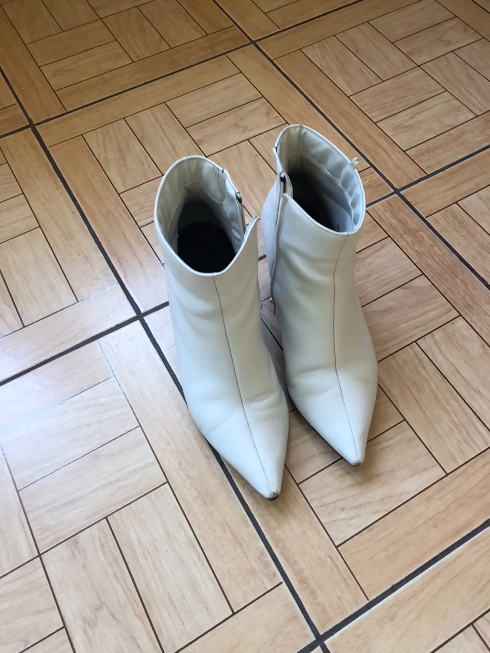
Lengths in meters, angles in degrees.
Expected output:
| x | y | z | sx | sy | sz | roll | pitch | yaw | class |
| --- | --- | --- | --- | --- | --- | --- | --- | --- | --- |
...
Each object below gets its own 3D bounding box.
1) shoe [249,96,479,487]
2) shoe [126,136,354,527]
| x | y | z | sx | sy | sz | roll | pitch | yaw | class |
| --- | --- | --- | --- | --- | --- | --- | --- | --- | --- |
| 0.071 | -0.030 | 0.447 | 0.100 | 0.155 | 0.274 | -7 | 61 | -3 | shoe |
| -0.014 | 0.005 | 0.430 | 0.100 | 0.155 | 0.254 | -12 | 61 | -6 | shoe |
